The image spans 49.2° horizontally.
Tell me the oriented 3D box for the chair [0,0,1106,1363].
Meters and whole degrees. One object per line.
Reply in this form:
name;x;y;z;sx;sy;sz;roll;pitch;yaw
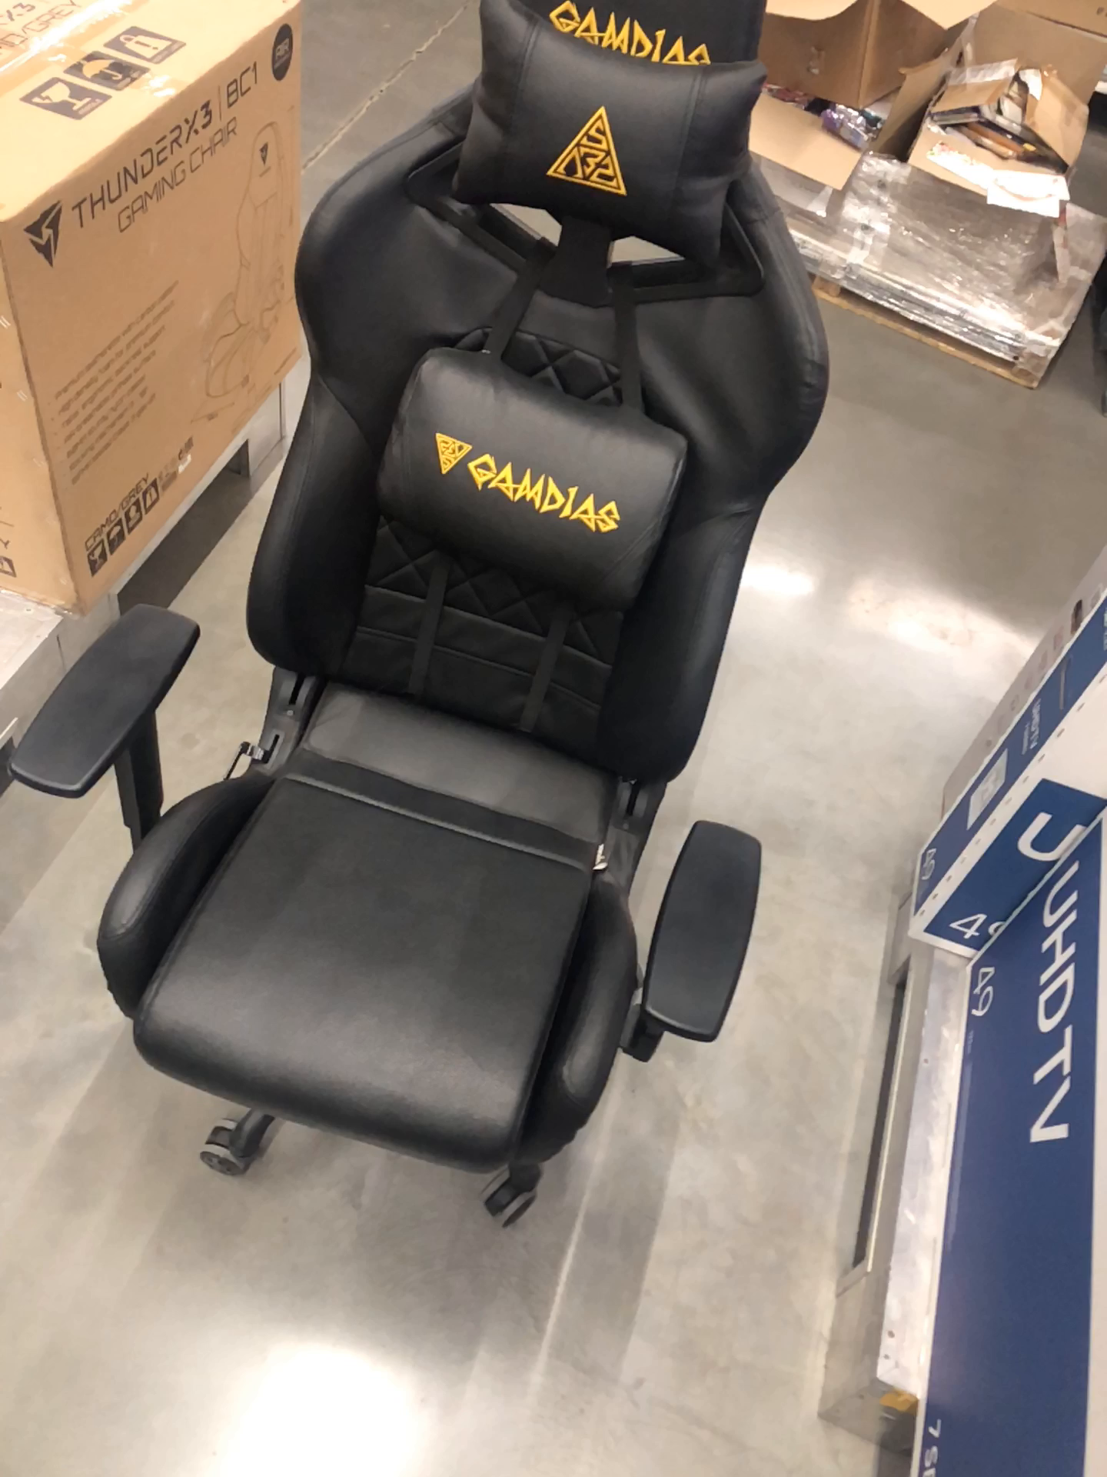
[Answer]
chair;-0.099;-0.035;1.251;0.740;1.282;0.785;18;50;3
